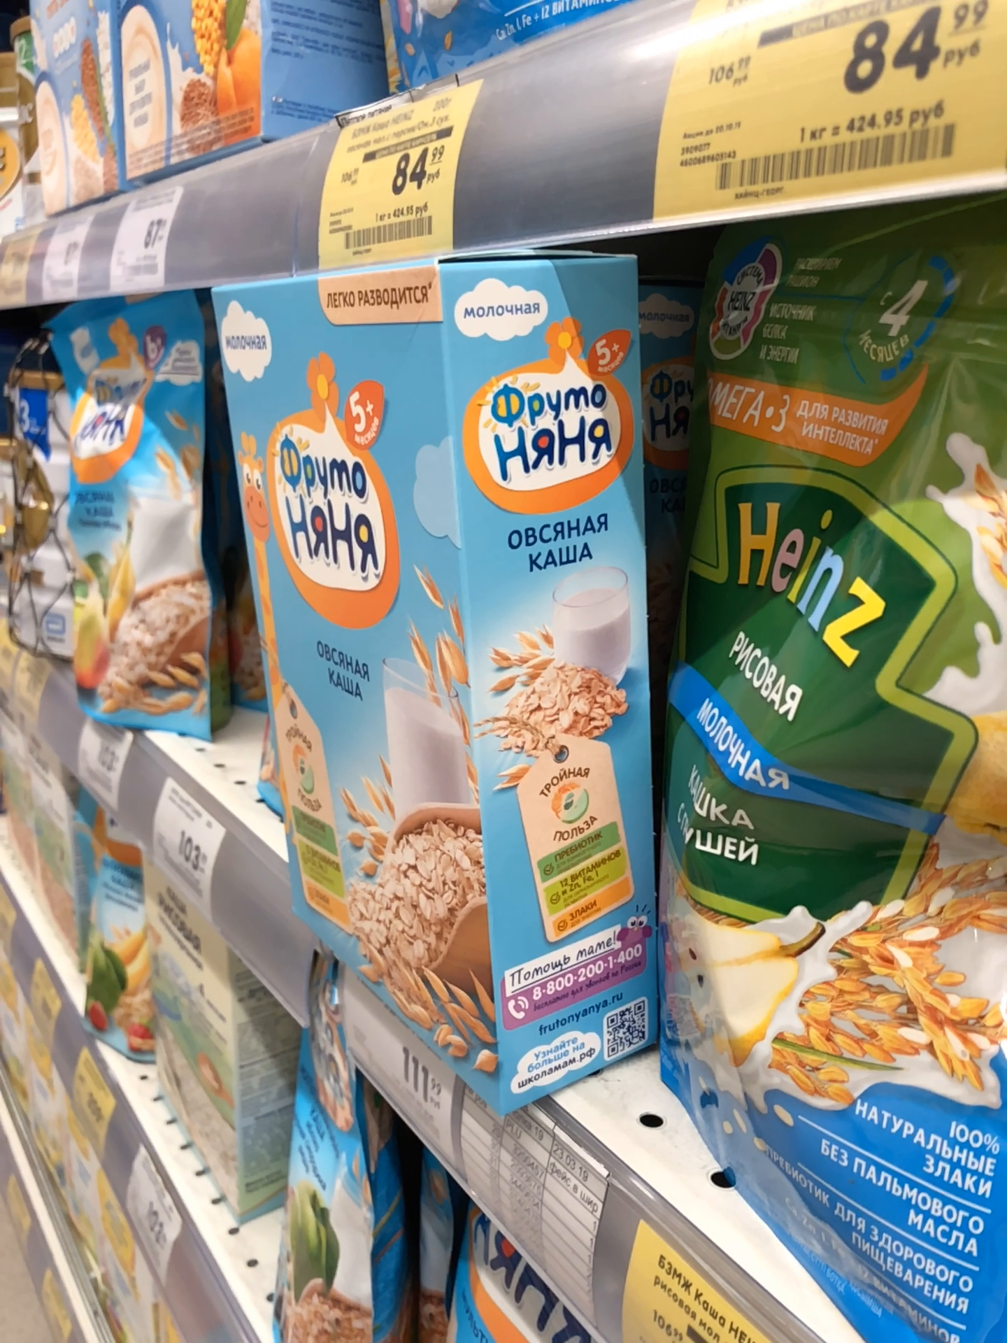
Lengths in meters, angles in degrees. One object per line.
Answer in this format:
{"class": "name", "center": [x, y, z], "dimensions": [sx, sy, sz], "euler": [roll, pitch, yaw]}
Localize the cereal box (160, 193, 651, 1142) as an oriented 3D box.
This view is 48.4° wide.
{"class": "cereal box", "center": [-0.029, -0.010, 0.293], "dimensions": [0.050, 0.199, 0.140], "euler": [-14, 21, -31]}
